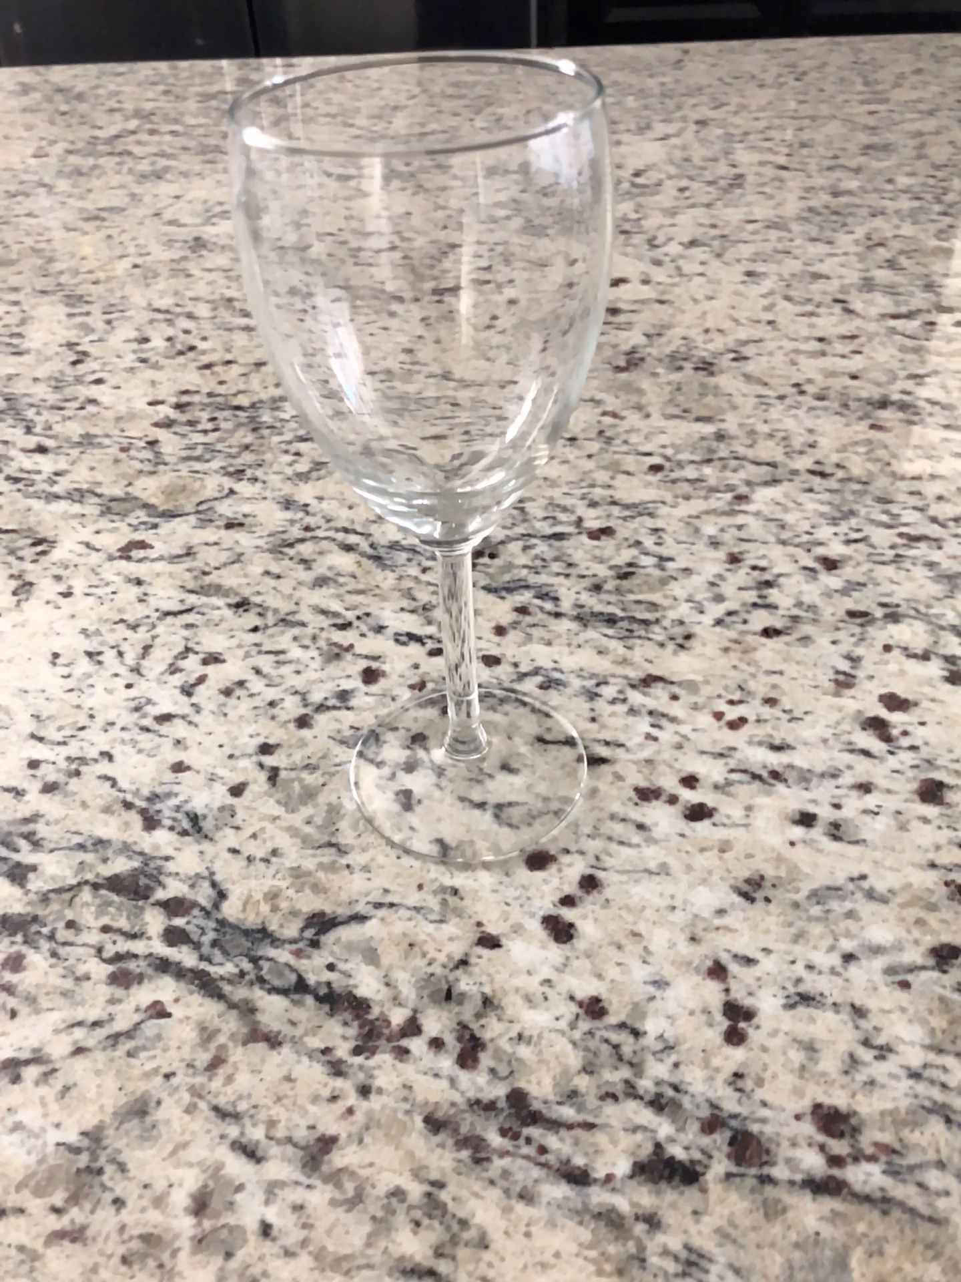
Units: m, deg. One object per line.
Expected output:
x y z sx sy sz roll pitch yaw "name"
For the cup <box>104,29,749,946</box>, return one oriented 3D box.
-0.004 -0.031 0.238 0.080 0.169 0.081 -2 38 2 "cup"
